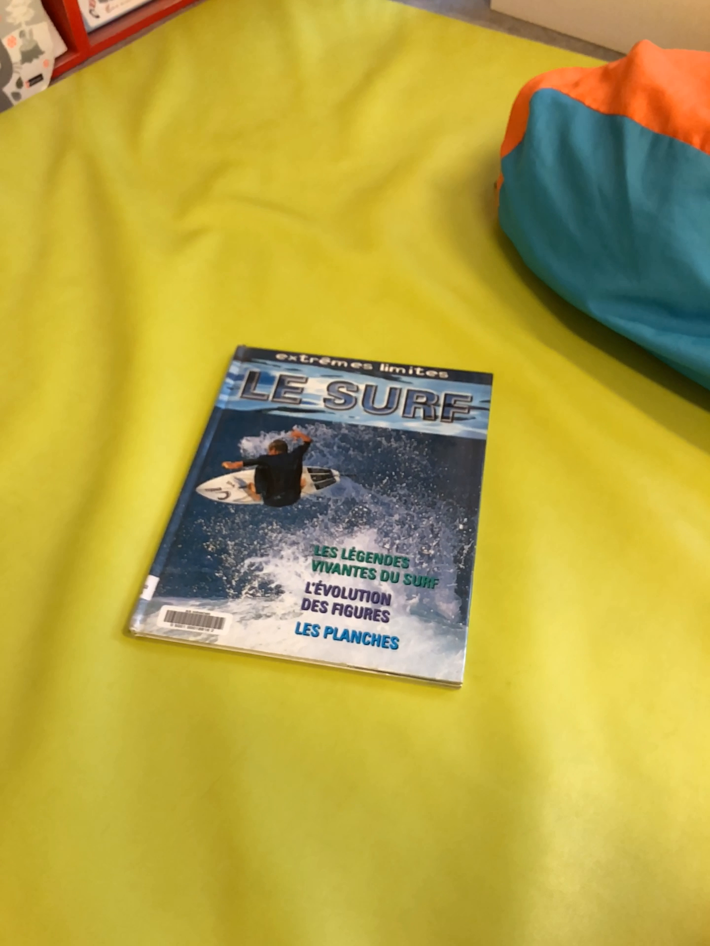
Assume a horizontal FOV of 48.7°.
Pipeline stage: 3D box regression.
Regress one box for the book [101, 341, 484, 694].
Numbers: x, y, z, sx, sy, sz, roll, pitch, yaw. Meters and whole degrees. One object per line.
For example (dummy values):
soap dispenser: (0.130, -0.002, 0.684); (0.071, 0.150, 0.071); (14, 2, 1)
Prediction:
book: (-0.028, 0.013, 0.579); (0.226, 0.016, 0.274); (7, 52, 7)
